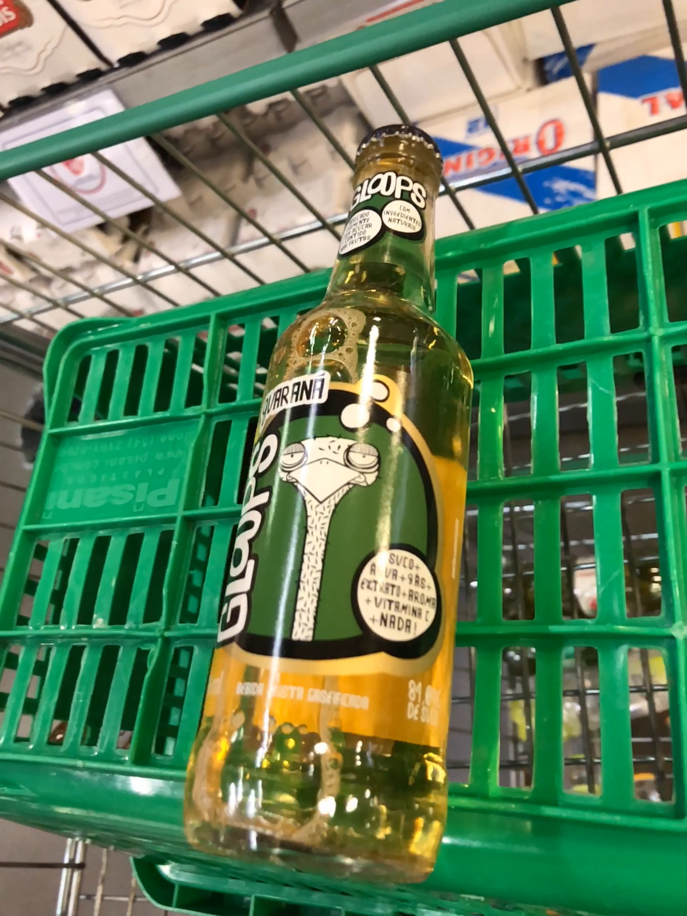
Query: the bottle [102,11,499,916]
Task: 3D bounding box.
[{"bbox_3d":[0.001,-0.012,0.205,0.060,0.050,0.220,-6,64,28],"label":"bottle"}]
